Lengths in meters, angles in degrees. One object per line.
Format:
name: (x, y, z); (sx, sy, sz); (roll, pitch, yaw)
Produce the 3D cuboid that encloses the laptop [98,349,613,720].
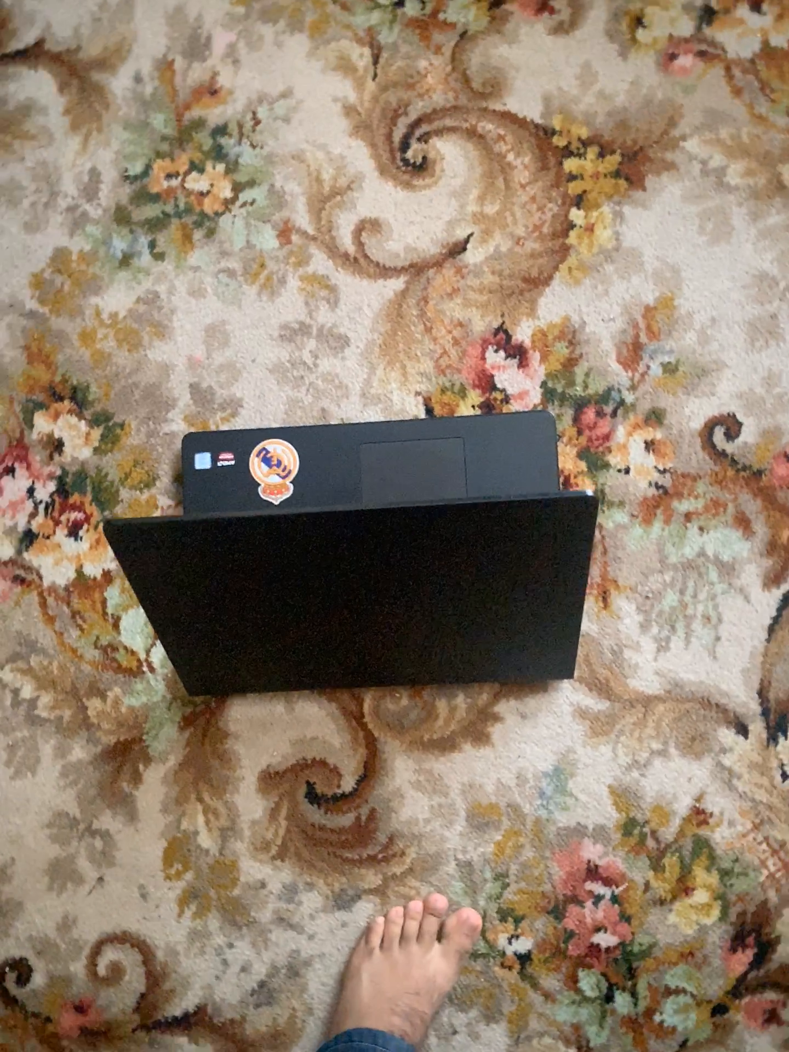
laptop: (-0.029, 0.016, 0.689); (0.366, 0.194, 0.251); (-4, 86, 4)
